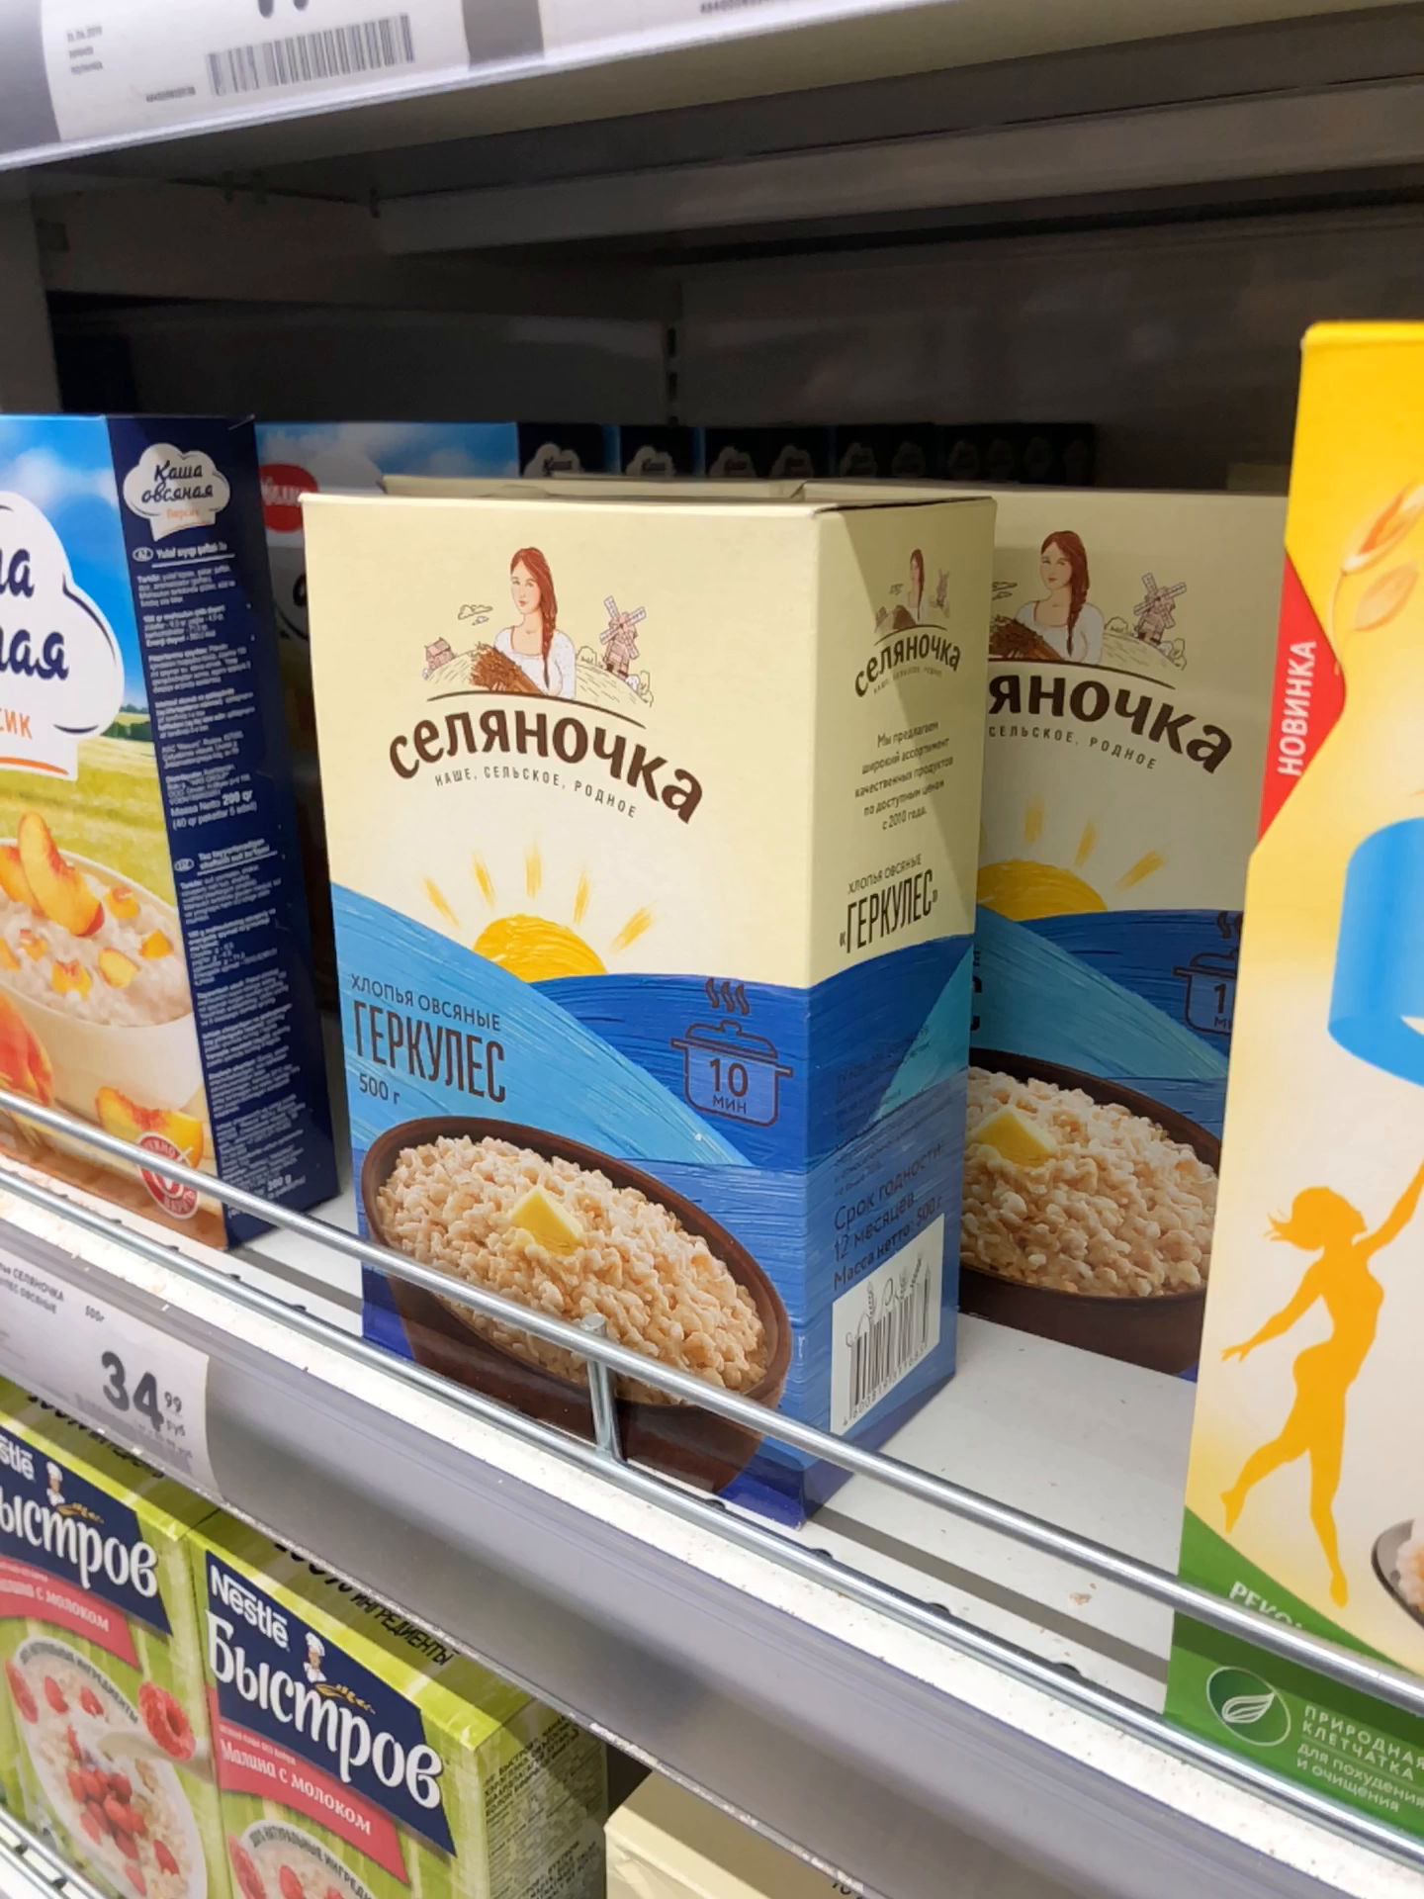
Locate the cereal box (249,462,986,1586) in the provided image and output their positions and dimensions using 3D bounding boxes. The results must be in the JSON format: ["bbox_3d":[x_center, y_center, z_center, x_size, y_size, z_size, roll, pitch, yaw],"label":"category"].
[{"bbox_3d":[-0.020,0.005,0.325,0.130,0.199,0.060,12,22,36],"label":"cereal box"}]
